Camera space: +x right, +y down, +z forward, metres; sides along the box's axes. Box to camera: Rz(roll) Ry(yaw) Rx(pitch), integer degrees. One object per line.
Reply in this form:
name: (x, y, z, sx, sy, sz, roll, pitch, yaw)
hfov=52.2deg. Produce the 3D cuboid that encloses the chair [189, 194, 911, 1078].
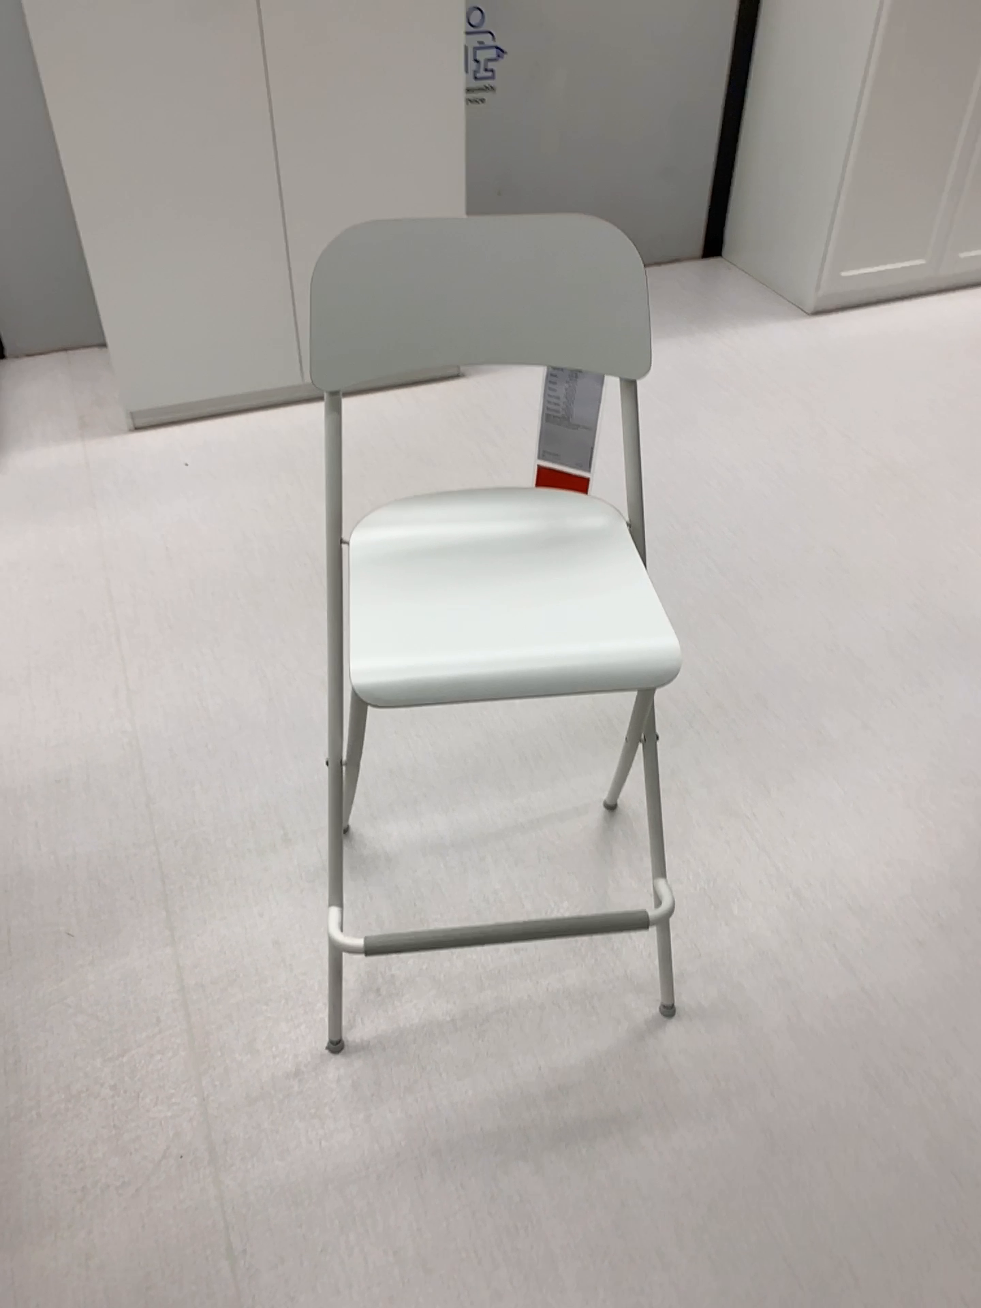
chair: (0.011, 0.023, 1.209, 0.520, 0.936, 0.502, -4, 42, -6)
